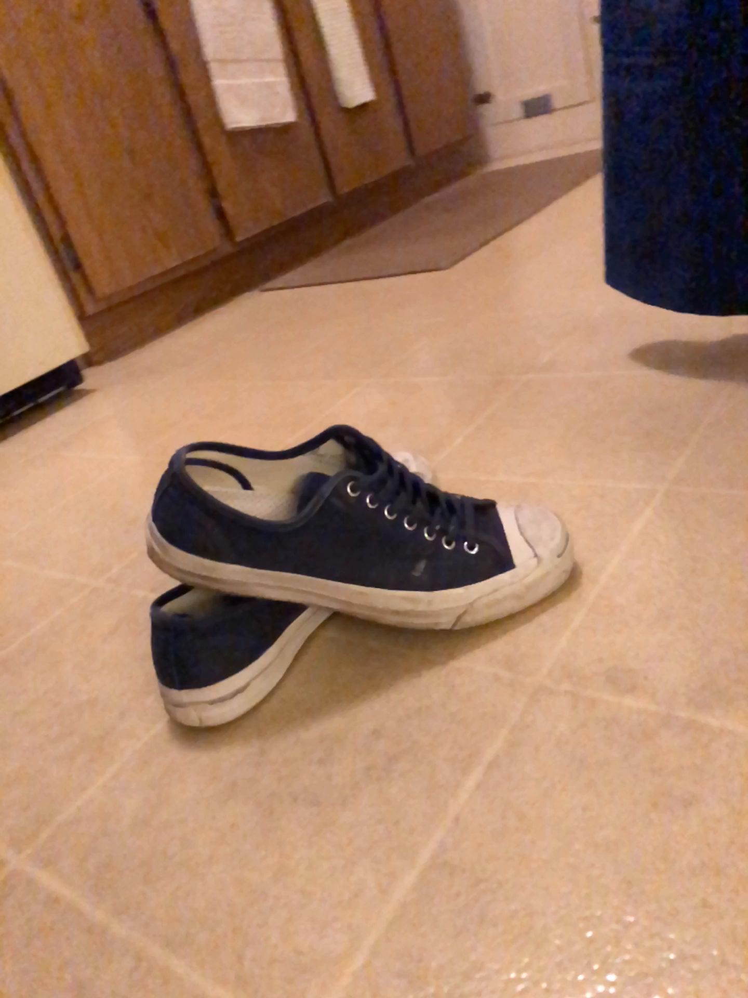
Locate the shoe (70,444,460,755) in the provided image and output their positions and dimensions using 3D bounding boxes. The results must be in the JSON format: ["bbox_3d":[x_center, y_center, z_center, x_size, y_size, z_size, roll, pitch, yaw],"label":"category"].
[{"bbox_3d":[-0.061,0.052,0.612,0.110,0.080,0.291,9,29,36],"label":"shoe"}]

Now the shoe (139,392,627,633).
[{"bbox_3d":[0.000,0.012,0.548,0.290,0.099,0.101,4,43,-9],"label":"shoe"}]
